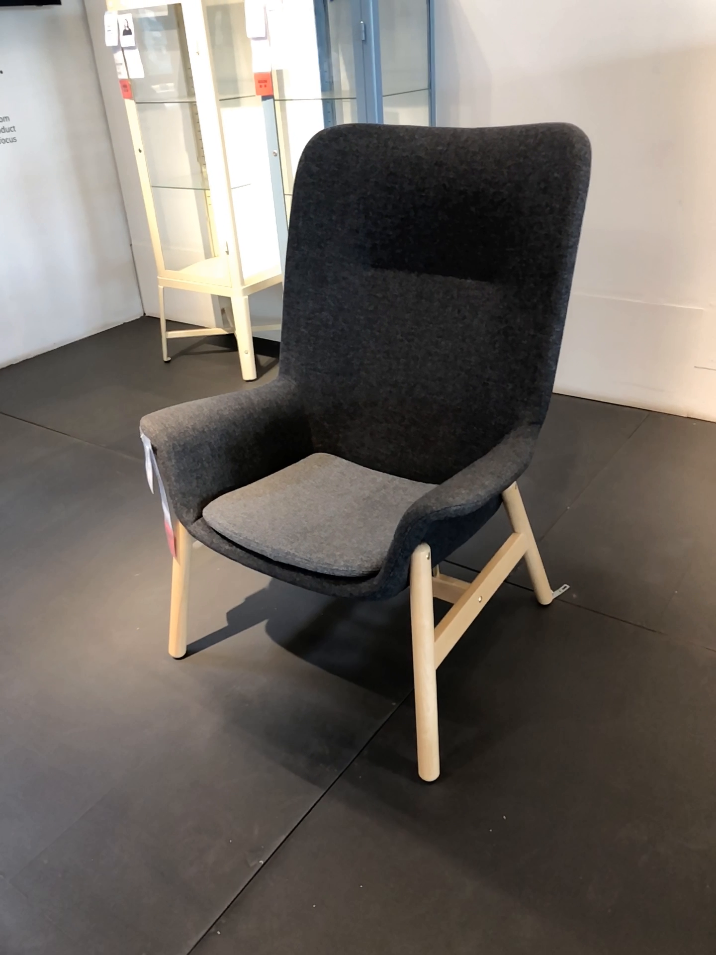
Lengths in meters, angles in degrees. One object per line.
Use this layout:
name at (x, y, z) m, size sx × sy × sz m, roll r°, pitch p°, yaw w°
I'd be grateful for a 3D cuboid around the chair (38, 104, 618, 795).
chair at (0.004, -0.134, 1.598) m, size 0.722 × 1.063 × 0.713 m, roll 15°, pitch 34°, yaw 32°
